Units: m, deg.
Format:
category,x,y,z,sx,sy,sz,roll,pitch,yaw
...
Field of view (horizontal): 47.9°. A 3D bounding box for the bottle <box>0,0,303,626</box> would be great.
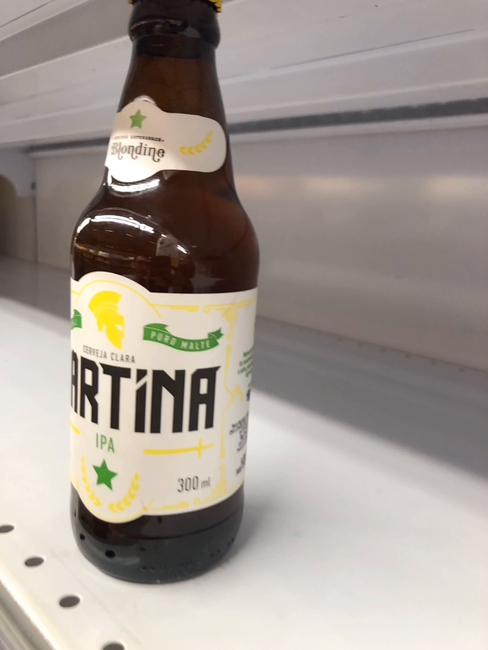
category,x,y,z,sx,sy,sz,roll,pitch,yaw
bottle,-0.030,-0.020,0.172,0.070,0.189,0.060,7,12,21
